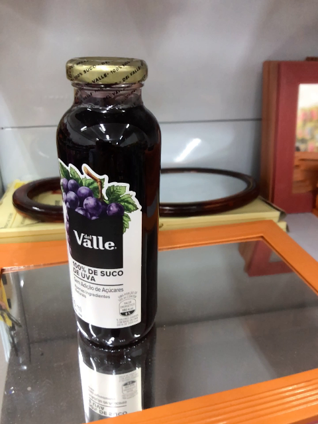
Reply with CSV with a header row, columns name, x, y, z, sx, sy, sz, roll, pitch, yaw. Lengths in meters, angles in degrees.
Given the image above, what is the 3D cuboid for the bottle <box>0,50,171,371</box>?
name,x,y,z,sx,sy,sz,roll,pitch,yaw
bottle,-0.037,0.003,0.227,0.070,0.189,0.060,8,27,12
